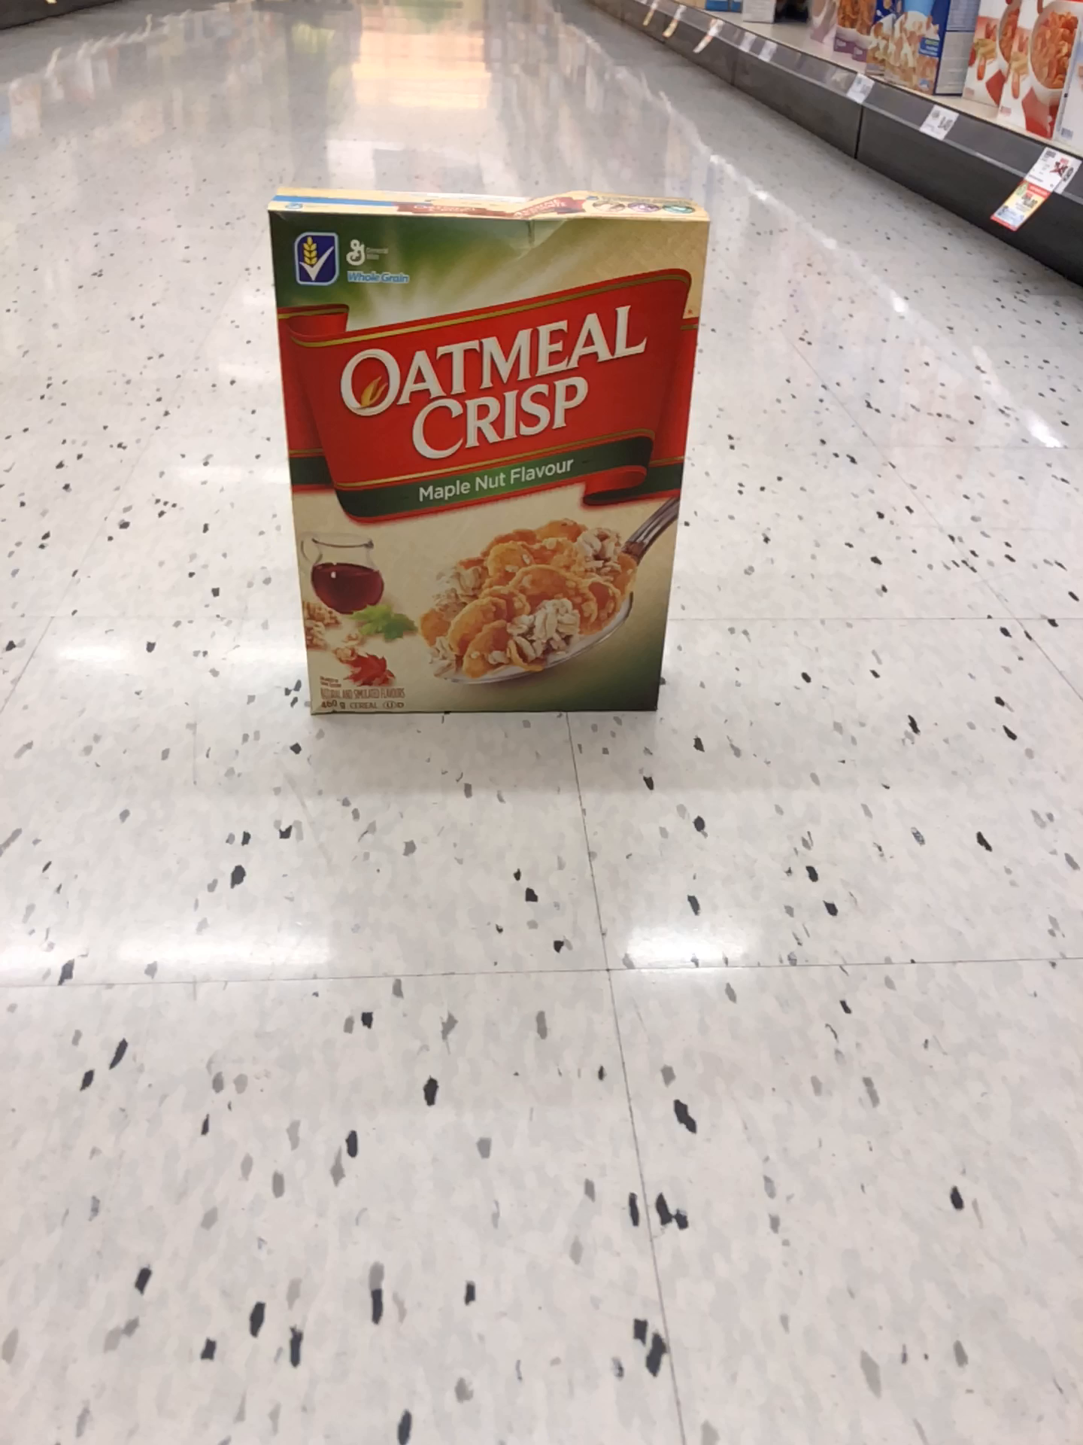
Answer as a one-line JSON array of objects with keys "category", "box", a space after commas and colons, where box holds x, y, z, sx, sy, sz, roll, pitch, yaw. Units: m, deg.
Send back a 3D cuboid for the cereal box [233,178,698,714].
[{"category": "cereal box", "box": [-0.039, -0.128, 0.604, 0.200, 0.258, 0.050, -1, 33, -6]}]
